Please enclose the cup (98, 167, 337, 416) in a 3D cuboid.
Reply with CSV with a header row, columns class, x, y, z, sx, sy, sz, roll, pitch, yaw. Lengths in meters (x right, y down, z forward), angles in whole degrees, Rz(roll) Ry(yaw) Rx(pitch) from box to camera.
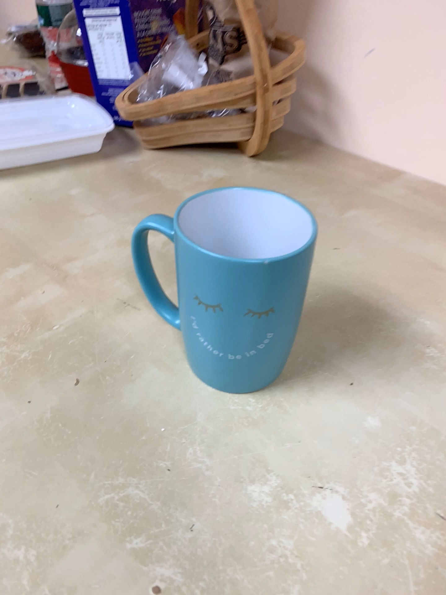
class,x,y,z,sx,sy,sz,roll,pitch,yaw
cup,-0.001,-0.008,0.315,0.121,0.113,0.092,16,41,16
